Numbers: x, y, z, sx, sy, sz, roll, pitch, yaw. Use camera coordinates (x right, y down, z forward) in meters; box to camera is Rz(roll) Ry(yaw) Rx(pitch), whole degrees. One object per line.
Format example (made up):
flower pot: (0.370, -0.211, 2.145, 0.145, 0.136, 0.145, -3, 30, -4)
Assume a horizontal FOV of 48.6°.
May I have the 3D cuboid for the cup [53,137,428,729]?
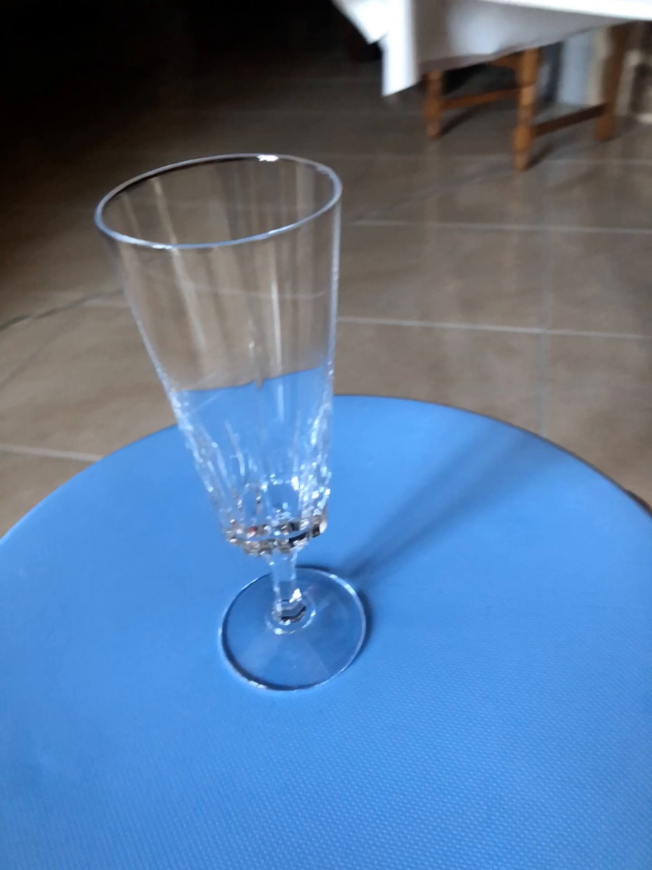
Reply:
cup: (-0.012, 0.005, 0.247, 0.070, 0.179, 0.081, 12, 41, 21)
